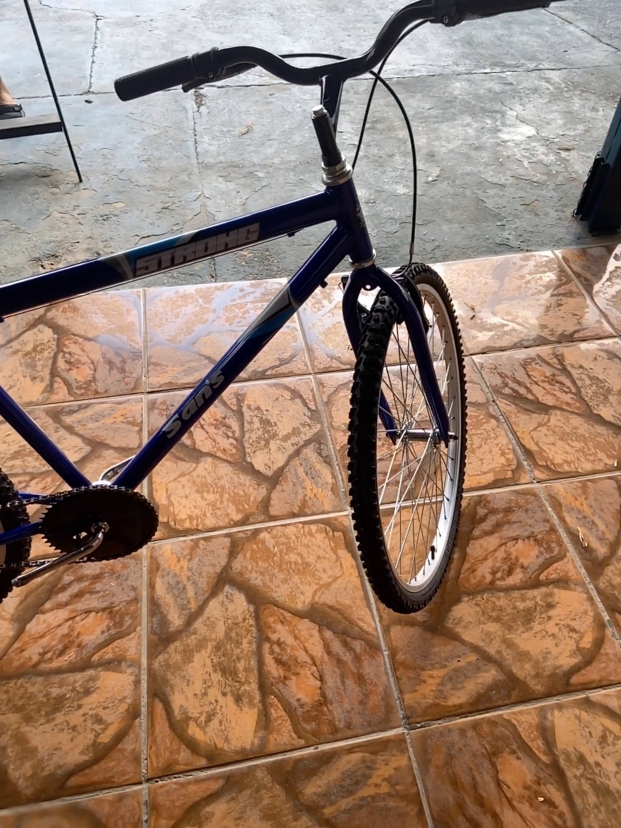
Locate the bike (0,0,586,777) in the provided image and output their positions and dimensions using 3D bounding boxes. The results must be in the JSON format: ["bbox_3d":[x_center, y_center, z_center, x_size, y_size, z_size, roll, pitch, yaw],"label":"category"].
[{"bbox_3d":[-0.412,-0.129,1.116,1.526,1.013,0.574,-16,51,-17],"label":"bike"}]
